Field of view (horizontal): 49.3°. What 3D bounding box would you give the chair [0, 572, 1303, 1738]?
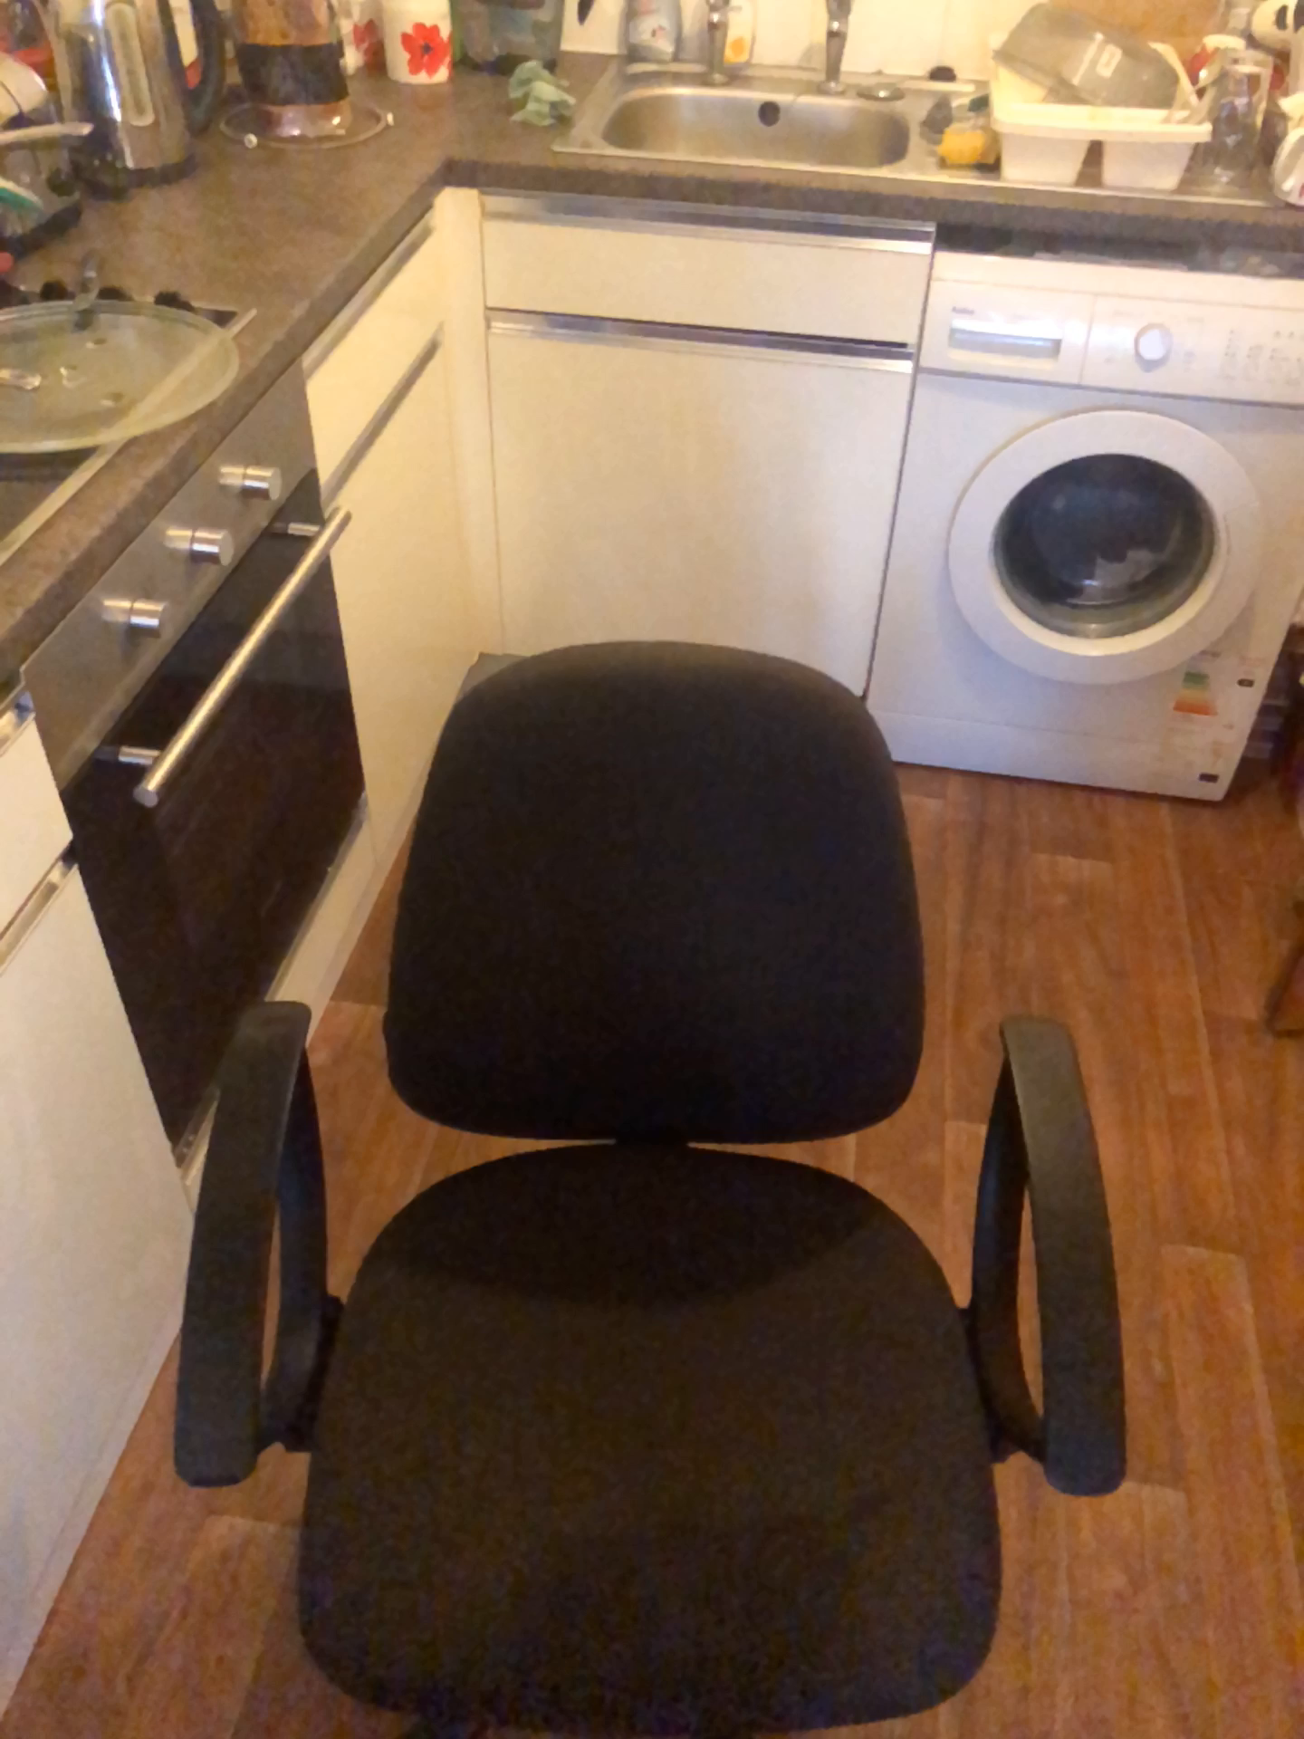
[{"bbox_3d":[0.002,0.322,1.192,0.685,0.755,0.880,3,41,1],"label":"chair"}]
